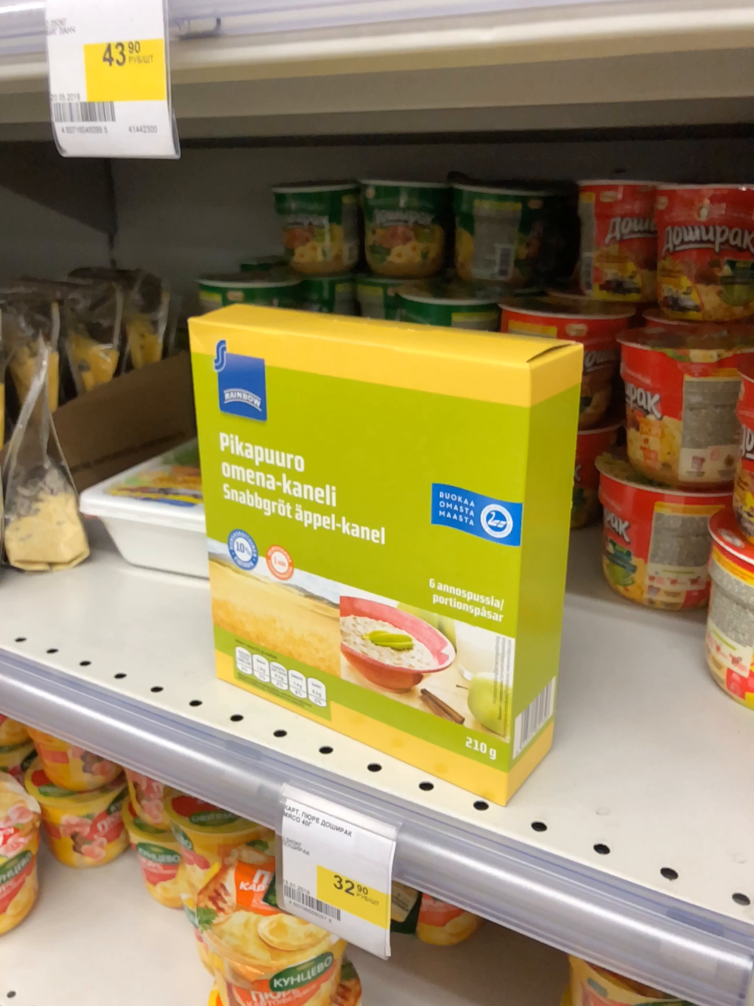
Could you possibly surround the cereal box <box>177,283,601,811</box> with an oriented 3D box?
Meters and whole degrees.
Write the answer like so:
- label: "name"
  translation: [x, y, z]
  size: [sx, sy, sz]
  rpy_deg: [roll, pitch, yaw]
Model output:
- label: "cereal box"
  translation: [-0.002, 0.009, 0.366]
  size: [0.170, 0.189, 0.050]
  rpy_deg: [14, 24, 32]
